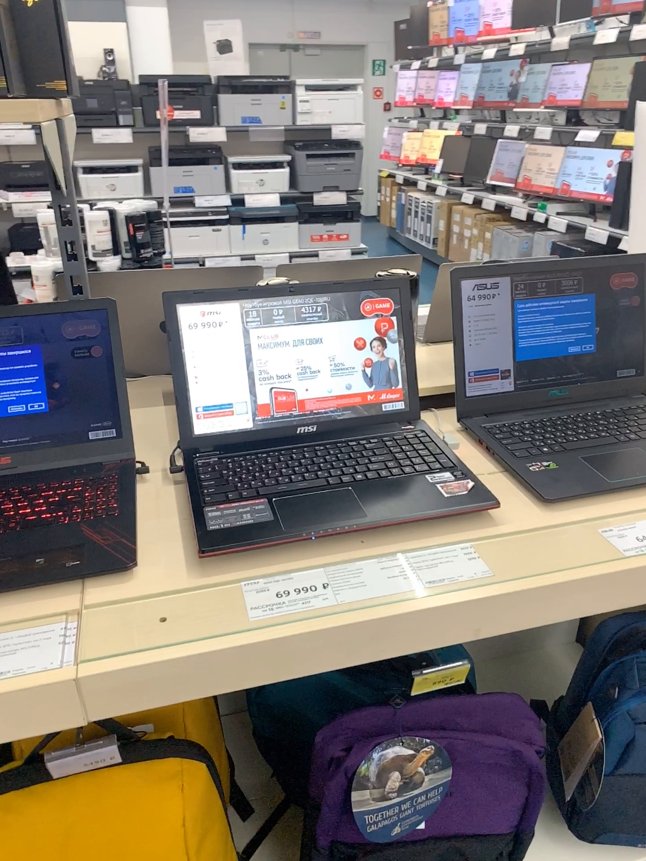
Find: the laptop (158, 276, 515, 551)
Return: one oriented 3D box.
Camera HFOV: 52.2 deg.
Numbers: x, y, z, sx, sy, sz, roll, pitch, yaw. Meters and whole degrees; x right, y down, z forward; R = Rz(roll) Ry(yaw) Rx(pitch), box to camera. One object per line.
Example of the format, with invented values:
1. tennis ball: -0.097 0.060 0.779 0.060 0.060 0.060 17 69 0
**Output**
1. laptop: -0.007 -0.051 0.839 0.355 0.197 0.314 -7 27 -15
